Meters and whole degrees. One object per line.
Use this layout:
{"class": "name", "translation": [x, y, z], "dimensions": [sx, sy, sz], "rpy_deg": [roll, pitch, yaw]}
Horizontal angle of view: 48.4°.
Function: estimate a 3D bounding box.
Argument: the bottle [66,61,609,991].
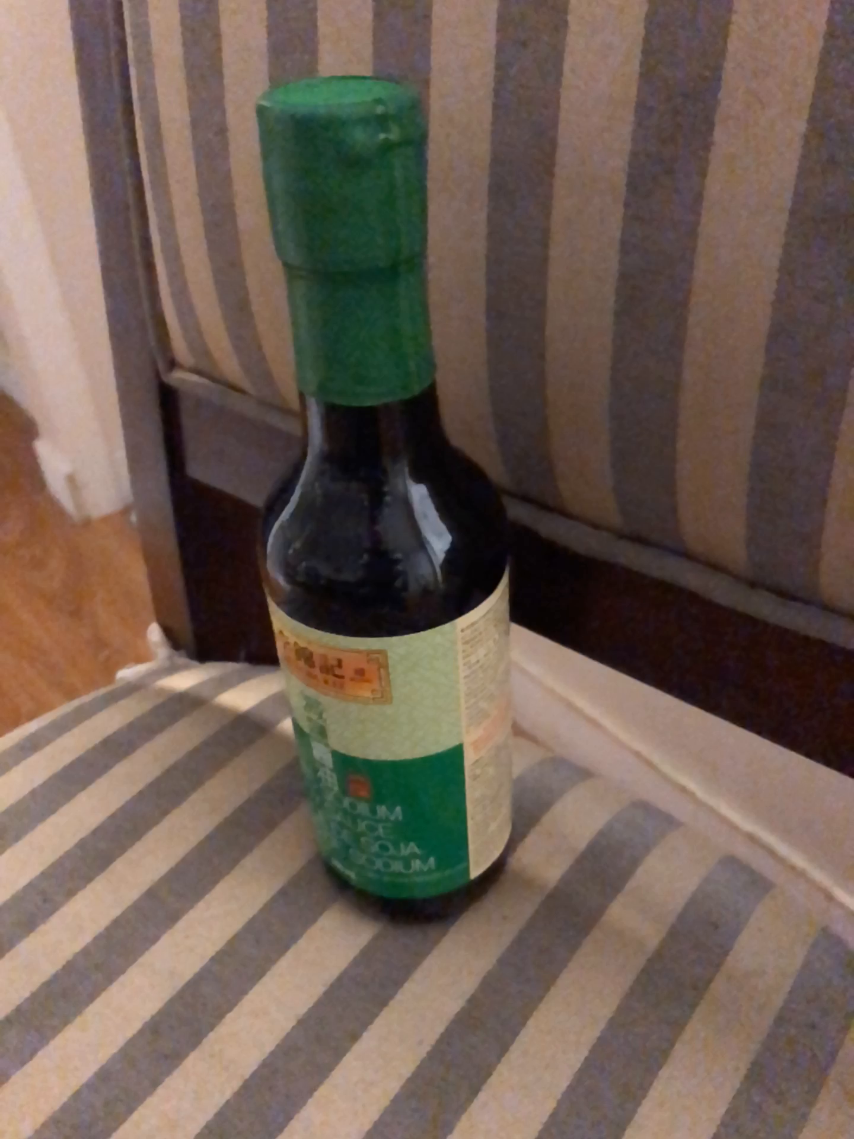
{"class": "bottle", "translation": [-0.011, 0.001, 0.253], "dimensions": [0.080, 0.228, 0.070], "rpy_deg": [26, 47, 34]}
